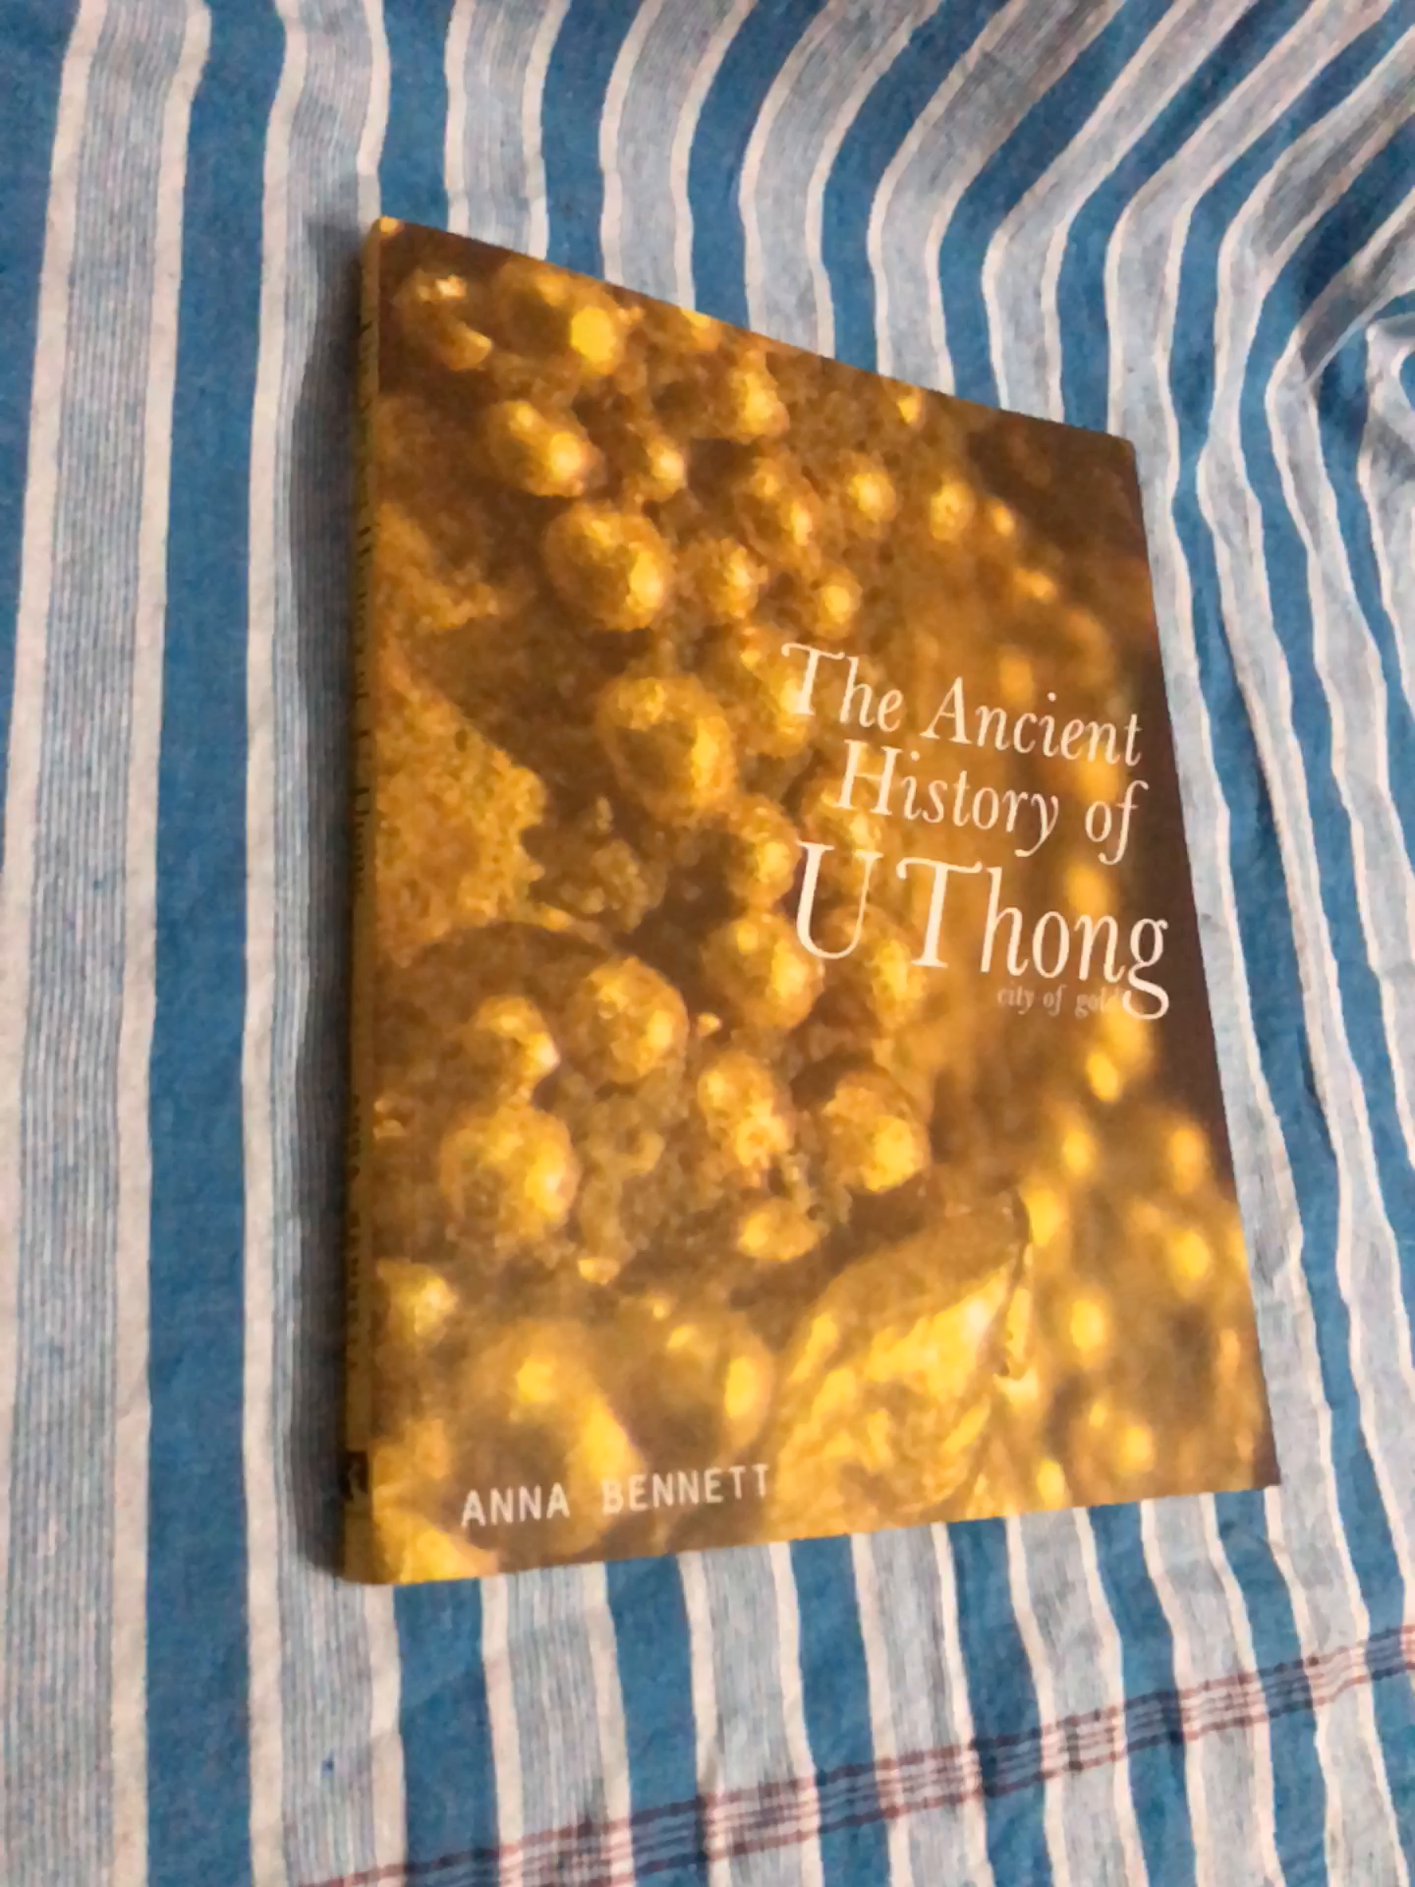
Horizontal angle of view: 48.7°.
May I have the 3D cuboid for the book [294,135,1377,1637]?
[{"bbox_3d":[0.032,-0.011,0.317,0.221,0.030,0.250,6,73,-30],"label":"book"}]
